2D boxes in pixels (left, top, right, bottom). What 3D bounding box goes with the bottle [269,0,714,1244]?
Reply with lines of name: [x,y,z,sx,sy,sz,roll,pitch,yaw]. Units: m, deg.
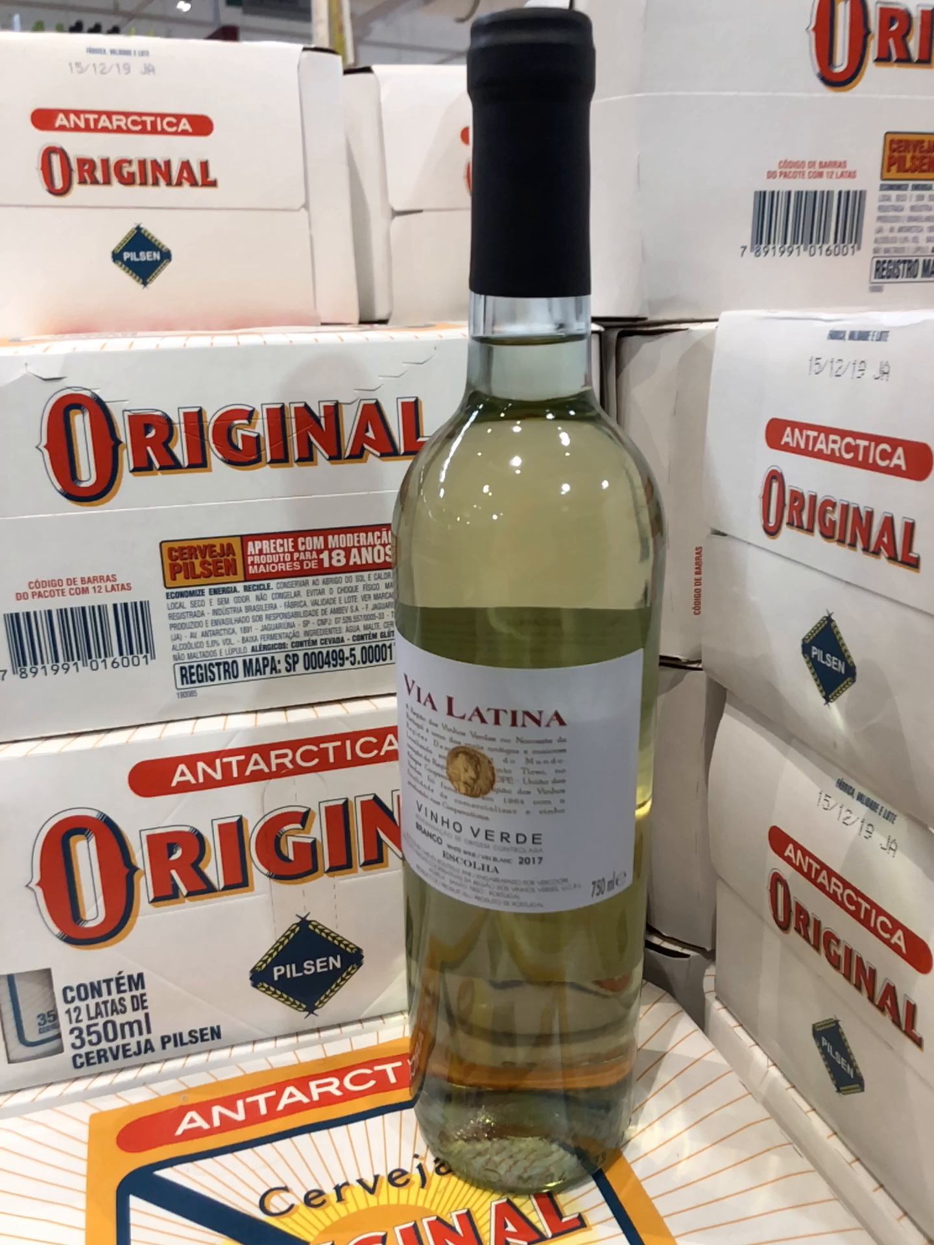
bottle: [0.008,0.008,0.289,0.080,0.308,0.070,11,20,32]
